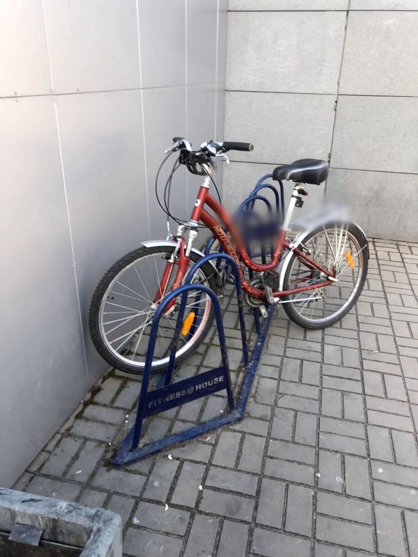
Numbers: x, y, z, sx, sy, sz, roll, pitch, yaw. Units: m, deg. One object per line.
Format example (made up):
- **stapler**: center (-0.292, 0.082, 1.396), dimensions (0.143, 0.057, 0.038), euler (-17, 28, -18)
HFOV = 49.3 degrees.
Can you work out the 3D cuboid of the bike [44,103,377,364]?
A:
- **bike**: center (0.014, -0.246, 2.209), dimensions (1.305, 0.973, 0.598), euler (-7, 25, -26)
